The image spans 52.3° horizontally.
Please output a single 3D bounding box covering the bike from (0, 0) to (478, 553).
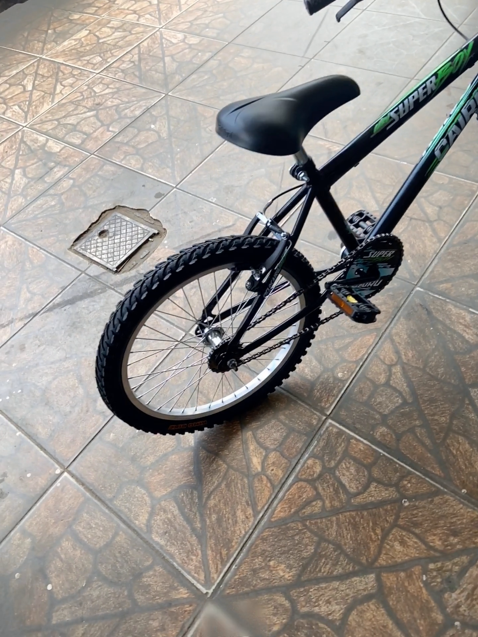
[{"bbox_3d":[0.170,-0.313,1.011,1.272,0.935,0.600,-36,58,-17],"label":"bike"}]
